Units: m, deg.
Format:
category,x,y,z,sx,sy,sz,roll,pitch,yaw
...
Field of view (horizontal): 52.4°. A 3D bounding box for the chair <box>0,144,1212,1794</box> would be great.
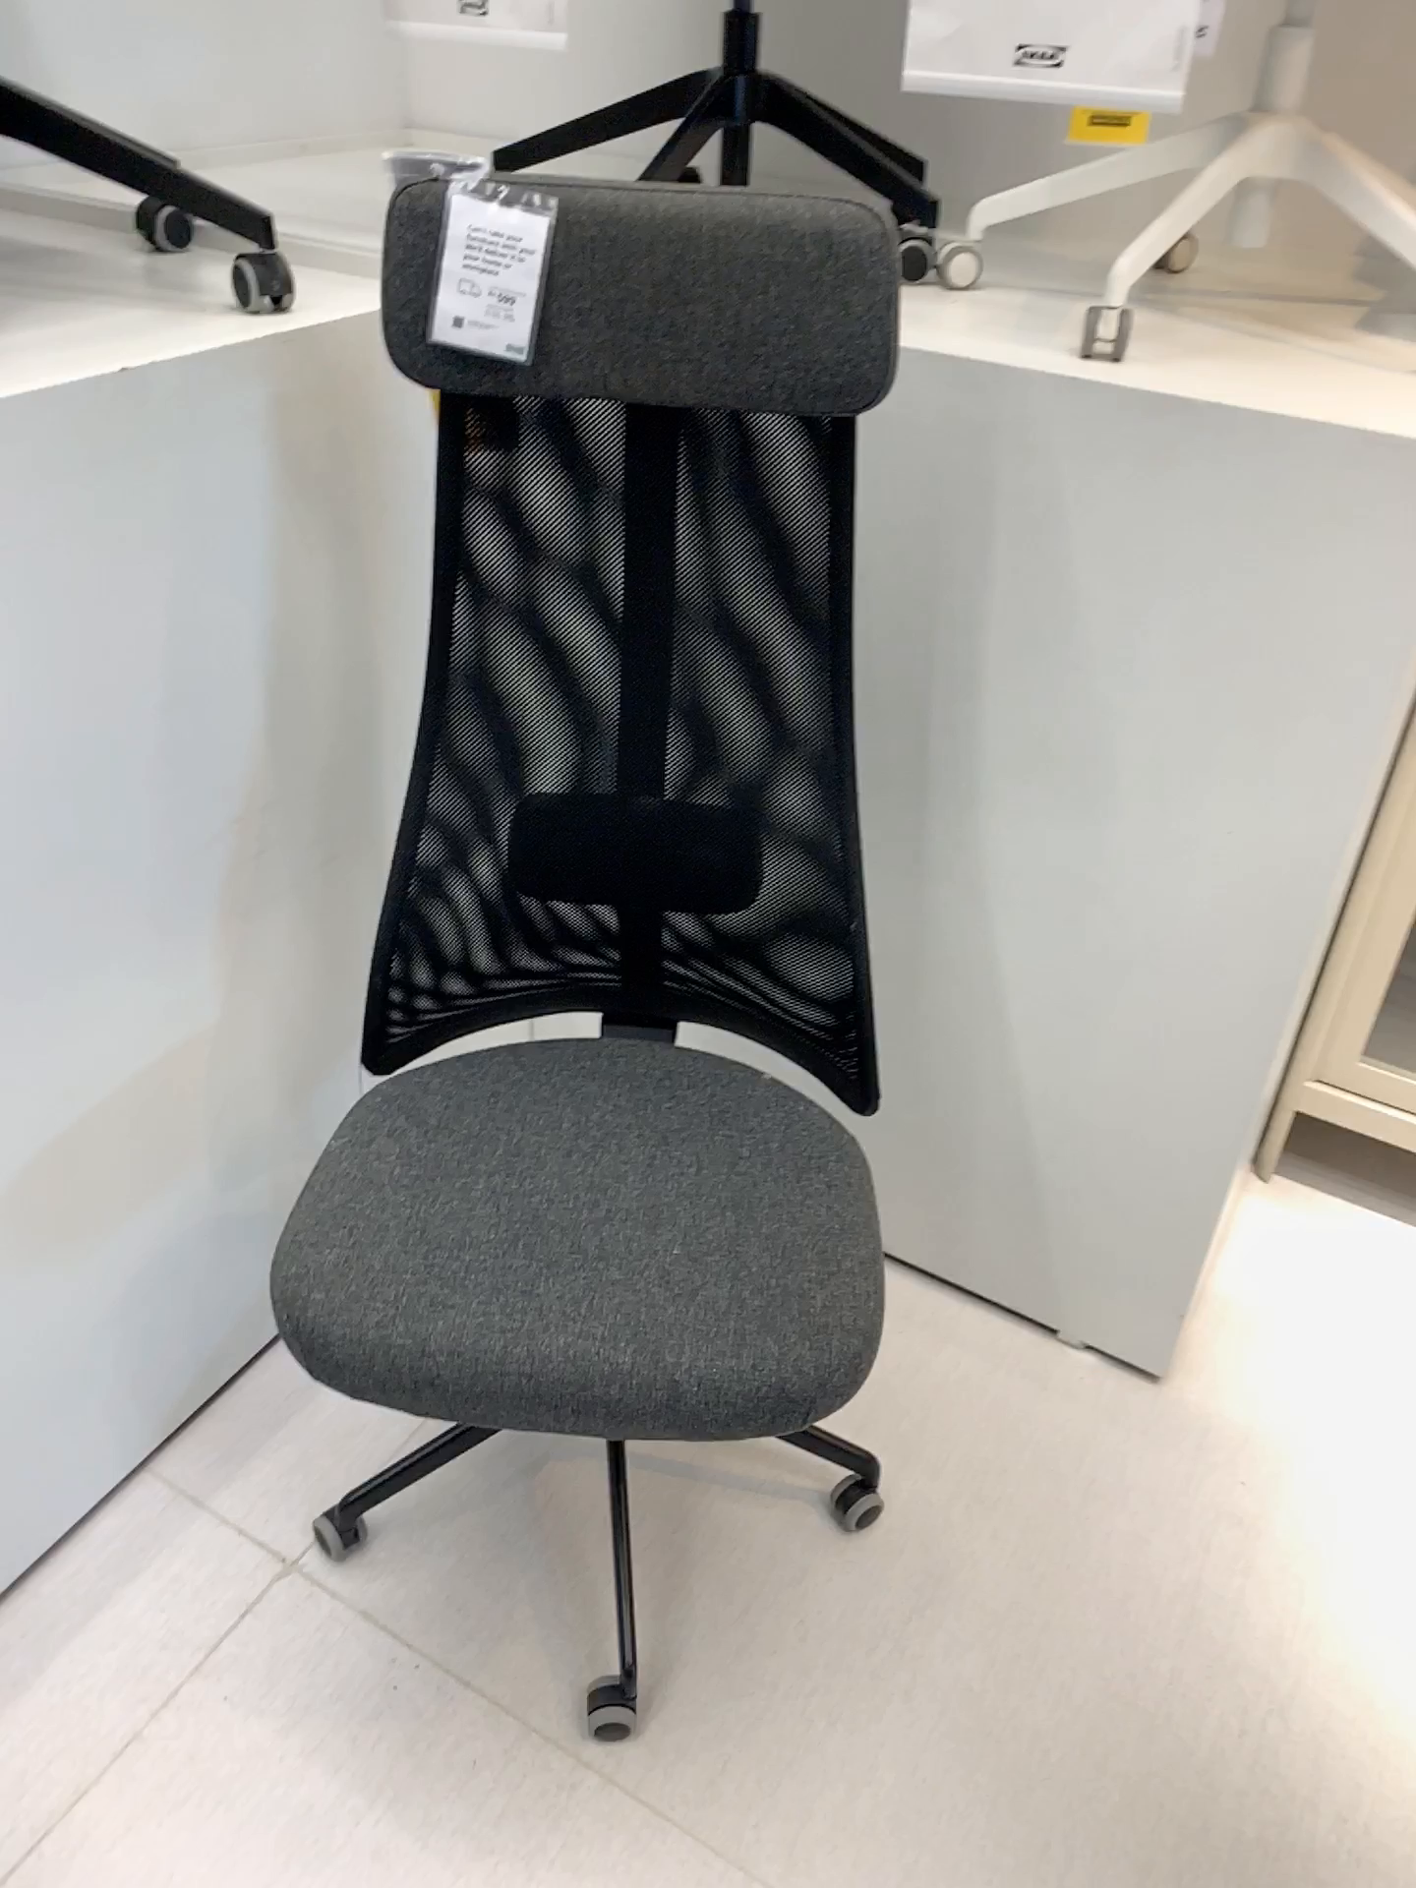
category,x,y,z,sx,sy,sz,roll,pitch,yaw
chair,-0.069,0.047,1.312,0.660,1.264,0.673,8,35,7
